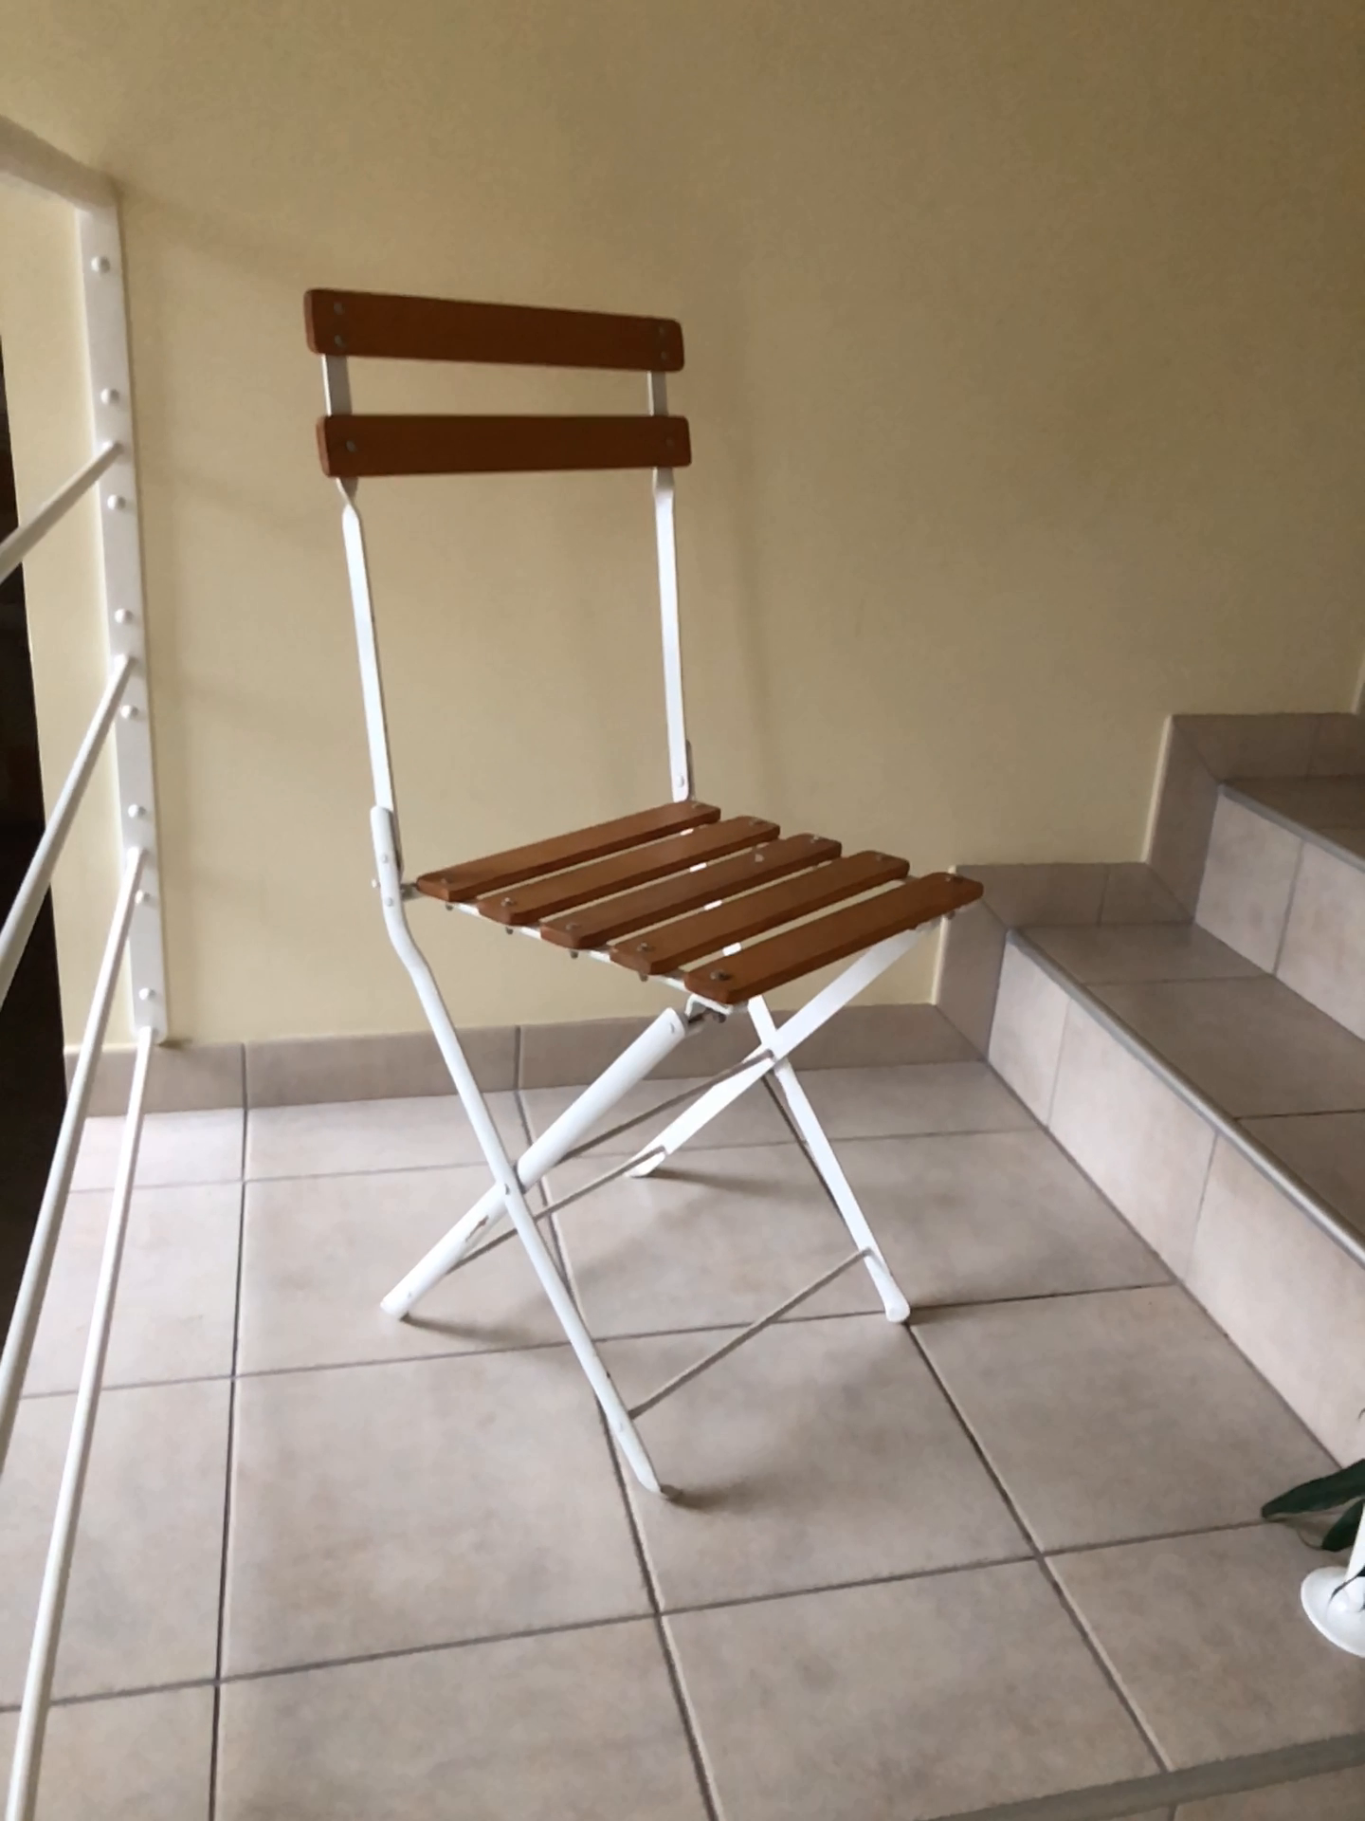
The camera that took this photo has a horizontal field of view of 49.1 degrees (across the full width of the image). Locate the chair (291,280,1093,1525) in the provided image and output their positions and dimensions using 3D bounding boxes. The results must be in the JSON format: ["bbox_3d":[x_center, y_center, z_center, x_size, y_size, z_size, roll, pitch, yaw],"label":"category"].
[{"bbox_3d":[-0.001,-0.051,1.284,0.430,0.876,0.442,18,25,37],"label":"chair"}]
